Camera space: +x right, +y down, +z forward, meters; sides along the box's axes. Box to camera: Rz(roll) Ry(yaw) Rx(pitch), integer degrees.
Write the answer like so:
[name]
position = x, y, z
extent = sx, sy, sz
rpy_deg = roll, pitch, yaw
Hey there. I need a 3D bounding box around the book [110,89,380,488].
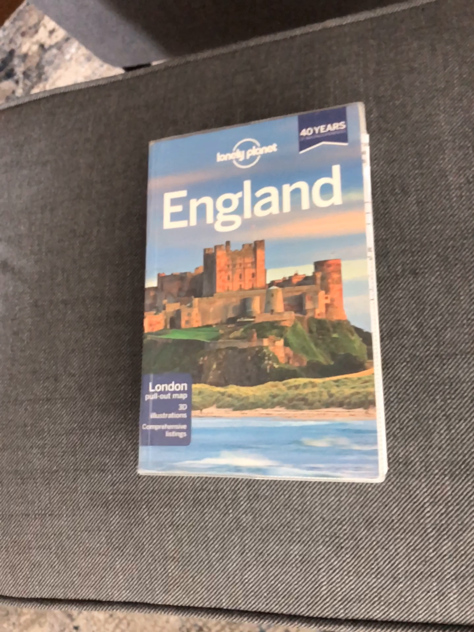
[book]
position = 0.004, -0.012, 0.299
extent = 0.136, 0.040, 0.200
rpy_deg = -4, 76, 21
